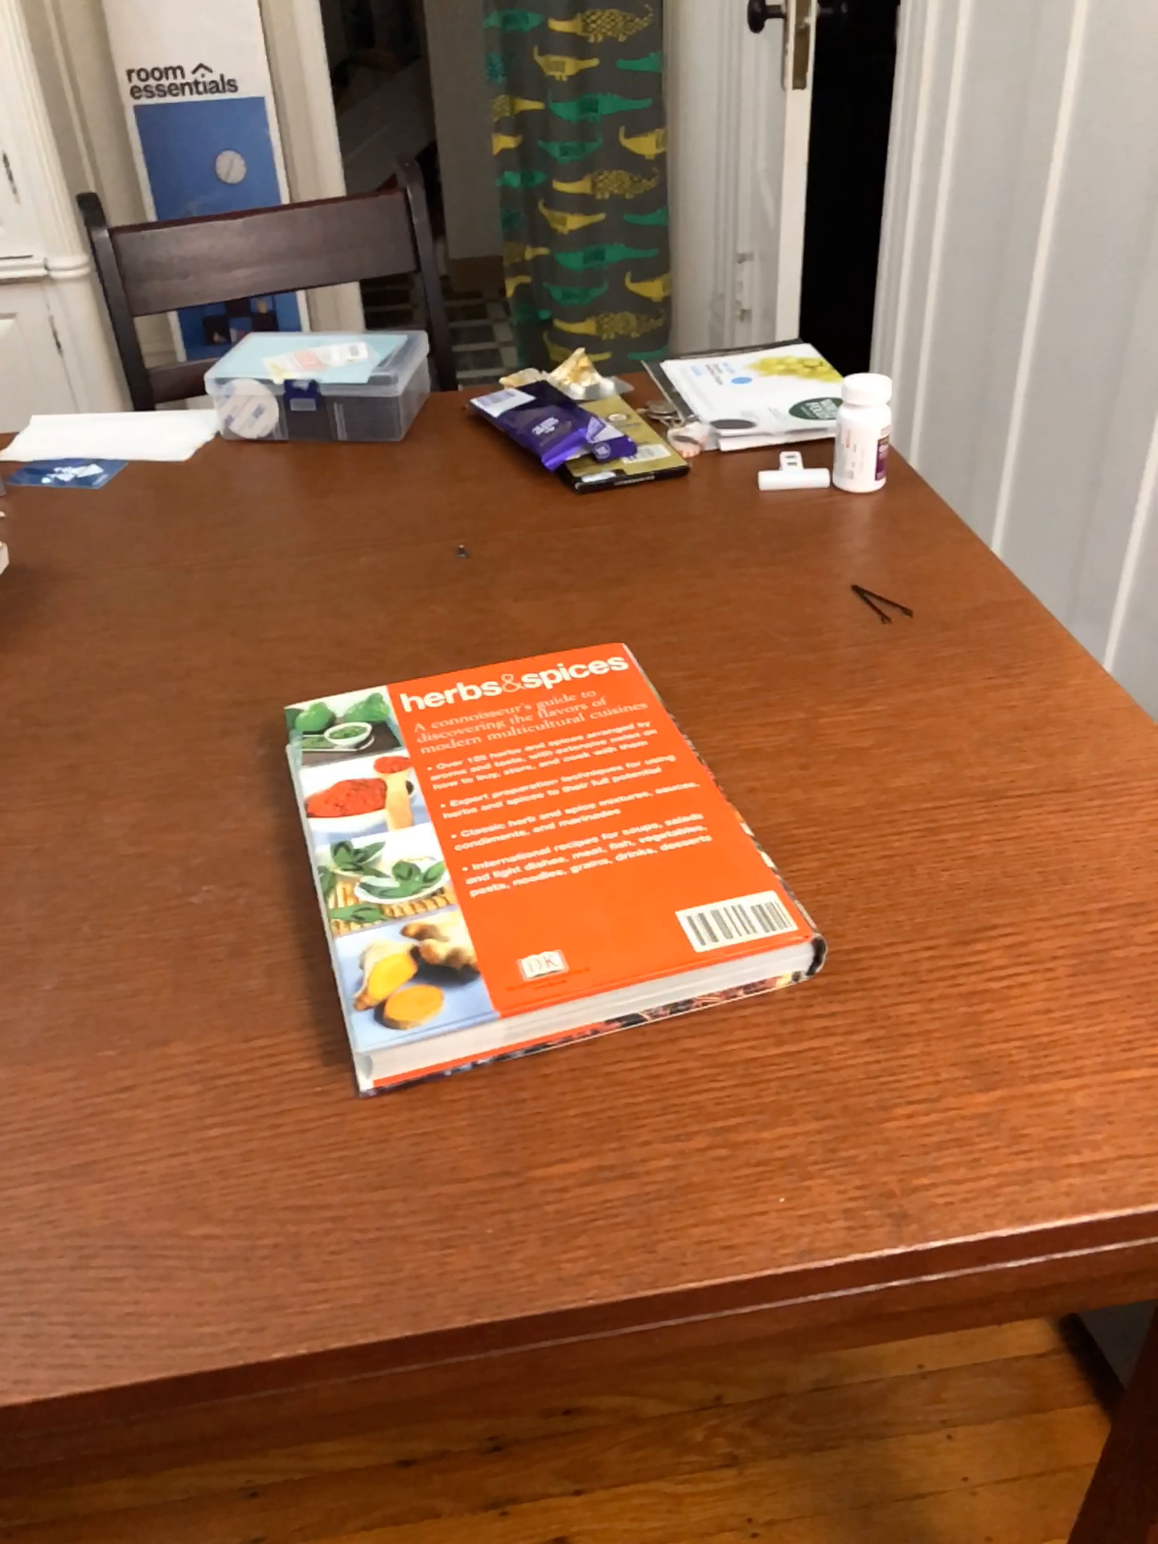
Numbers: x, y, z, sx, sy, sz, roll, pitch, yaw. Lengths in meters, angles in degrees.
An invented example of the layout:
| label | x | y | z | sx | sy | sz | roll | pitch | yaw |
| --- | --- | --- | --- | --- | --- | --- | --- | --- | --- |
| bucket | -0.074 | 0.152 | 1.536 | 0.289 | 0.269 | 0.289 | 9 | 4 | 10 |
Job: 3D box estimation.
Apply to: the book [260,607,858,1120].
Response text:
| label | x | y | z | sx | sy | sz | roll | pitch | yaw |
| --- | --- | --- | --- | --- | --- | --- | --- | --- | --- |
| book | -0.028 | 0.019 | 0.599 | 0.210 | 0.040 | 0.271 | -12 | 37 | -12 |
